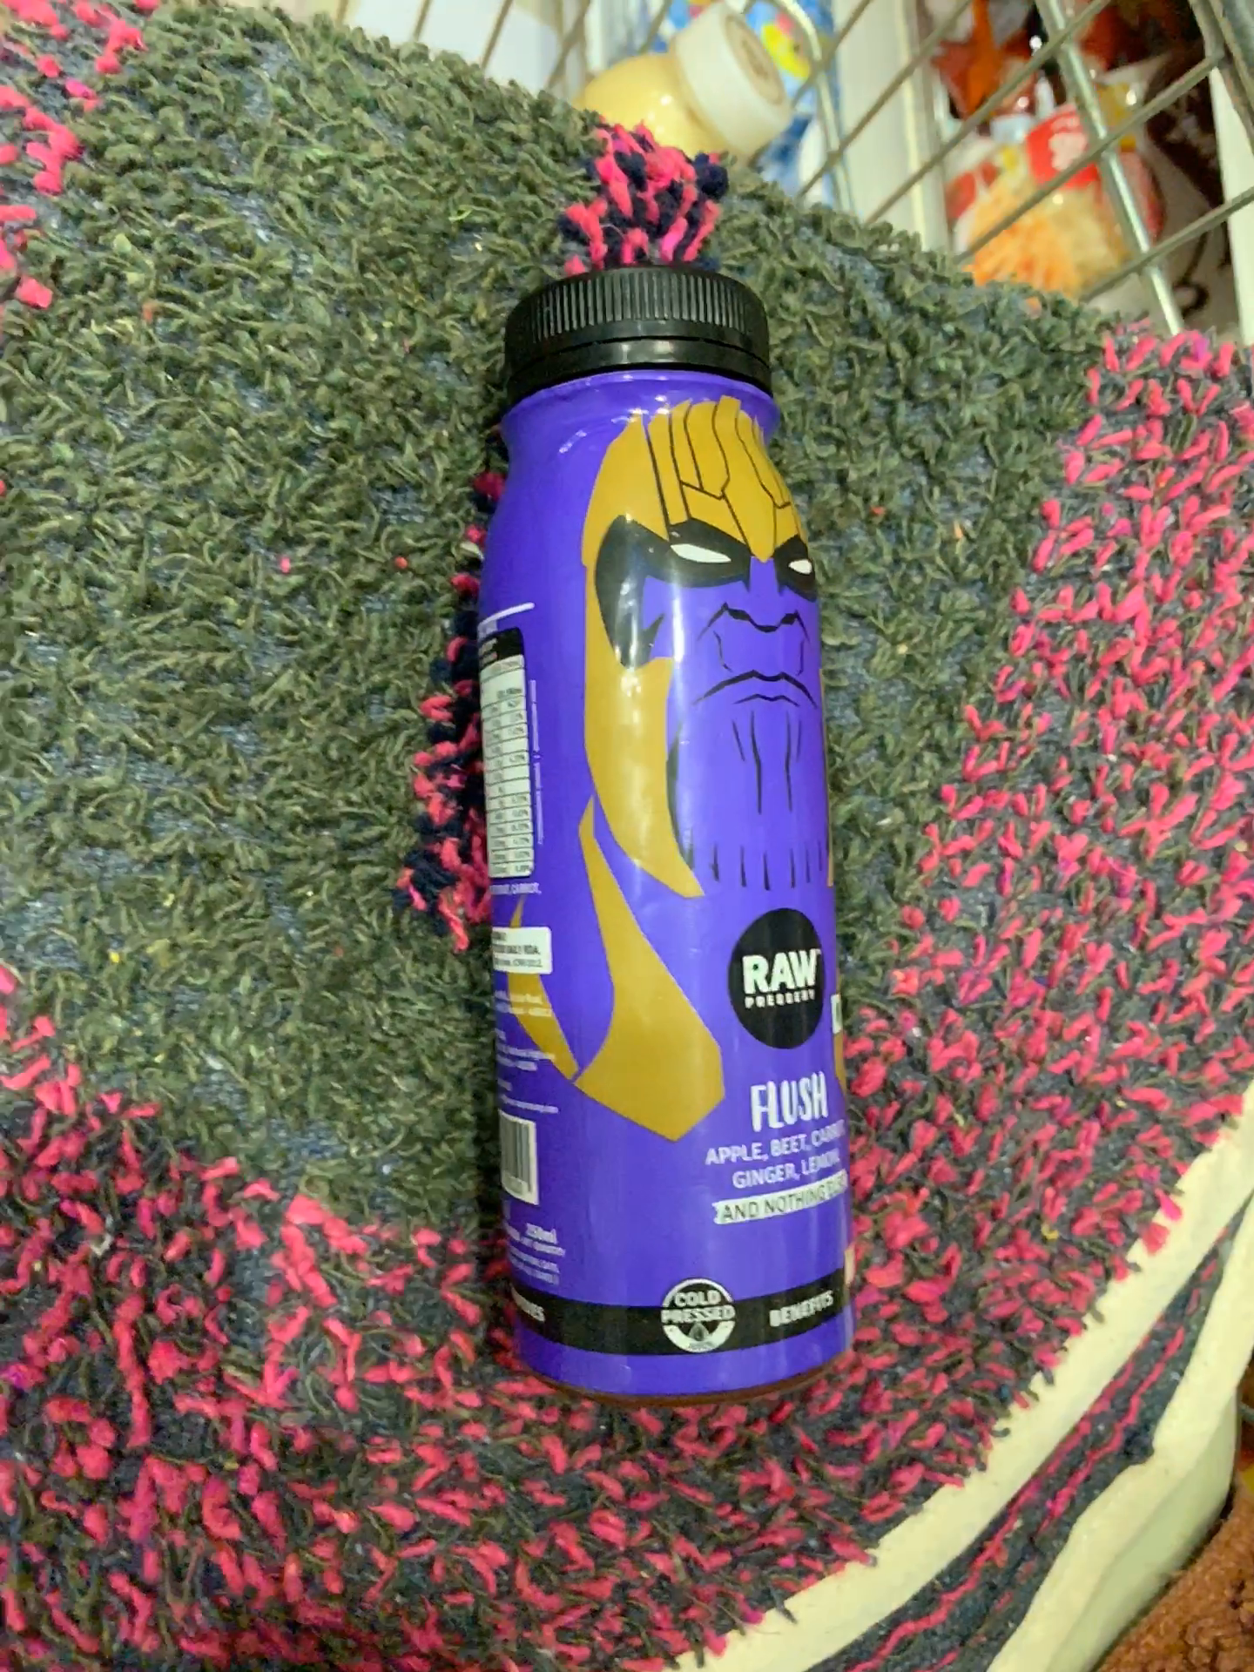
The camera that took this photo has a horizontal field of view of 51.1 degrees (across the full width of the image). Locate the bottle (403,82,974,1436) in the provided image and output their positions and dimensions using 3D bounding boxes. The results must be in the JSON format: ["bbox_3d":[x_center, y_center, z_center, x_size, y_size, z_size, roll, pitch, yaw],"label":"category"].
[{"bbox_3d":[0.007,-0.011,0.200,0.060,0.050,0.170,0,85,-31],"label":"bottle"}]
